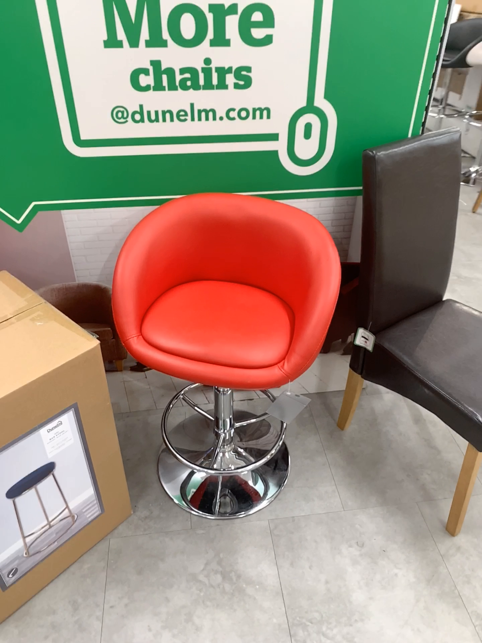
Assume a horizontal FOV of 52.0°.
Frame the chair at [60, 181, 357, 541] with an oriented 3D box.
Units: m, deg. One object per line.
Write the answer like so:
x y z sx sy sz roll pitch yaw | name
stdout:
-0.032 0.100 1.270 0.534 0.744 0.465 5 36 7 | chair

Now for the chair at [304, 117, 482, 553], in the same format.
0.562 0.013 1.279 0.506 0.853 0.534 -24 42 -30 | chair
